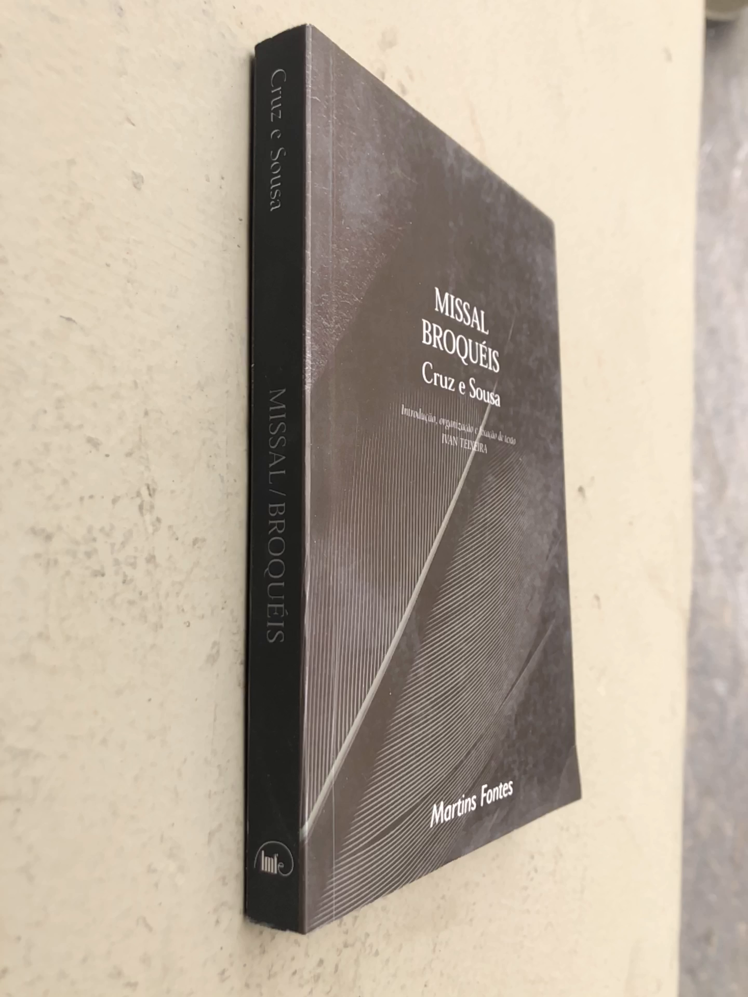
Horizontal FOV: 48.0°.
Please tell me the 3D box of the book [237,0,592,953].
[{"bbox_3d":[0.019,-0.005,0.206,0.129,0.016,0.173,8,80,-54],"label":"book"}]
